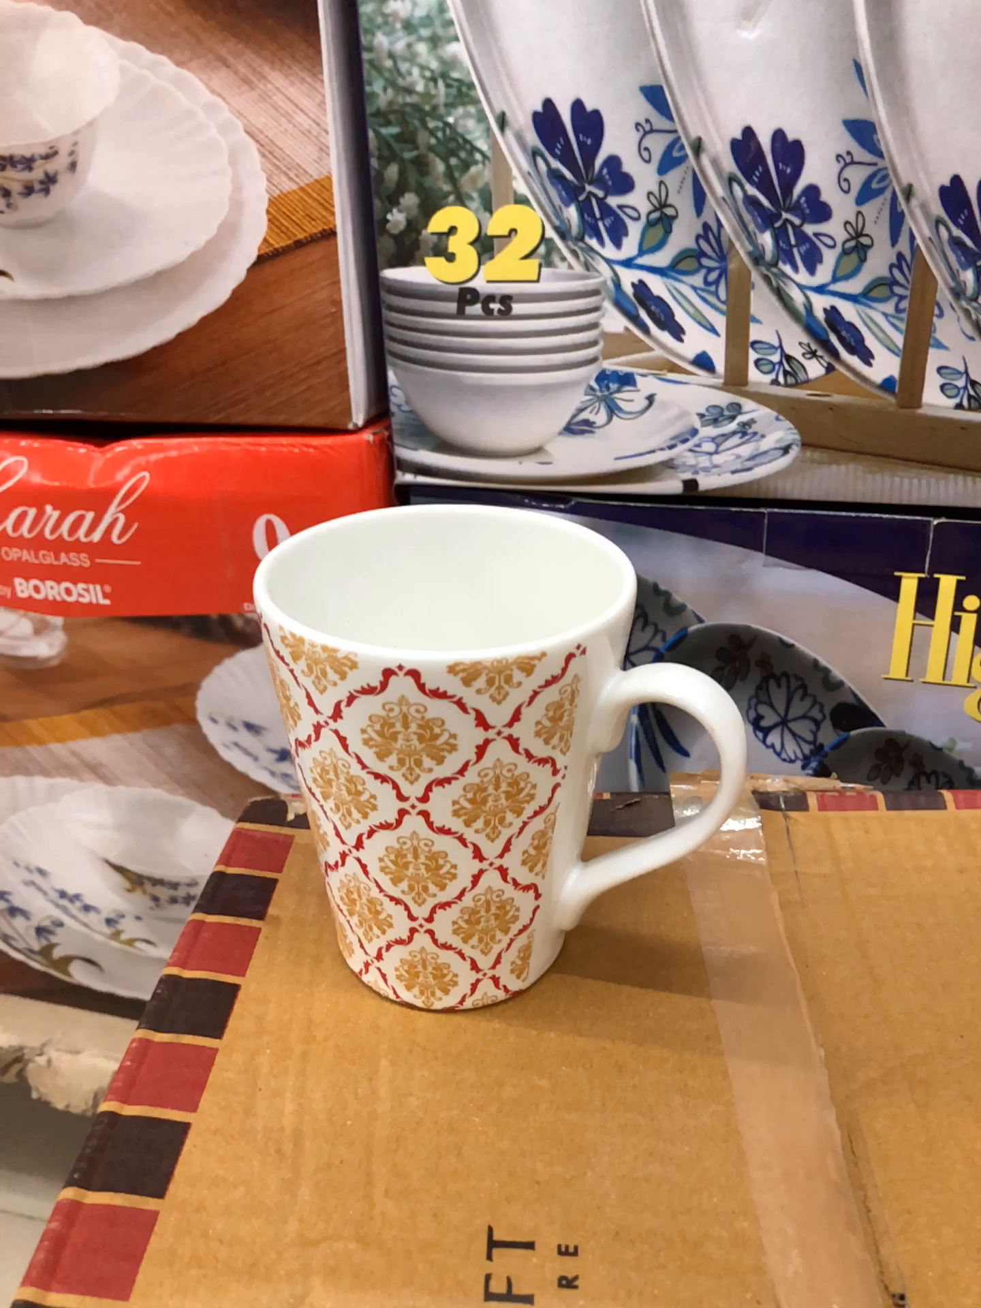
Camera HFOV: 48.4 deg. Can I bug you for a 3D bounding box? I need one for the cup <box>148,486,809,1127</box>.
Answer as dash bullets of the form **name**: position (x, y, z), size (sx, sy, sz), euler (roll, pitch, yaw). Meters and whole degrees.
- **cup**: position (0.003, 0.022, 0.248), size (0.110, 0.089, 0.091), euler (10, 26, 26)
